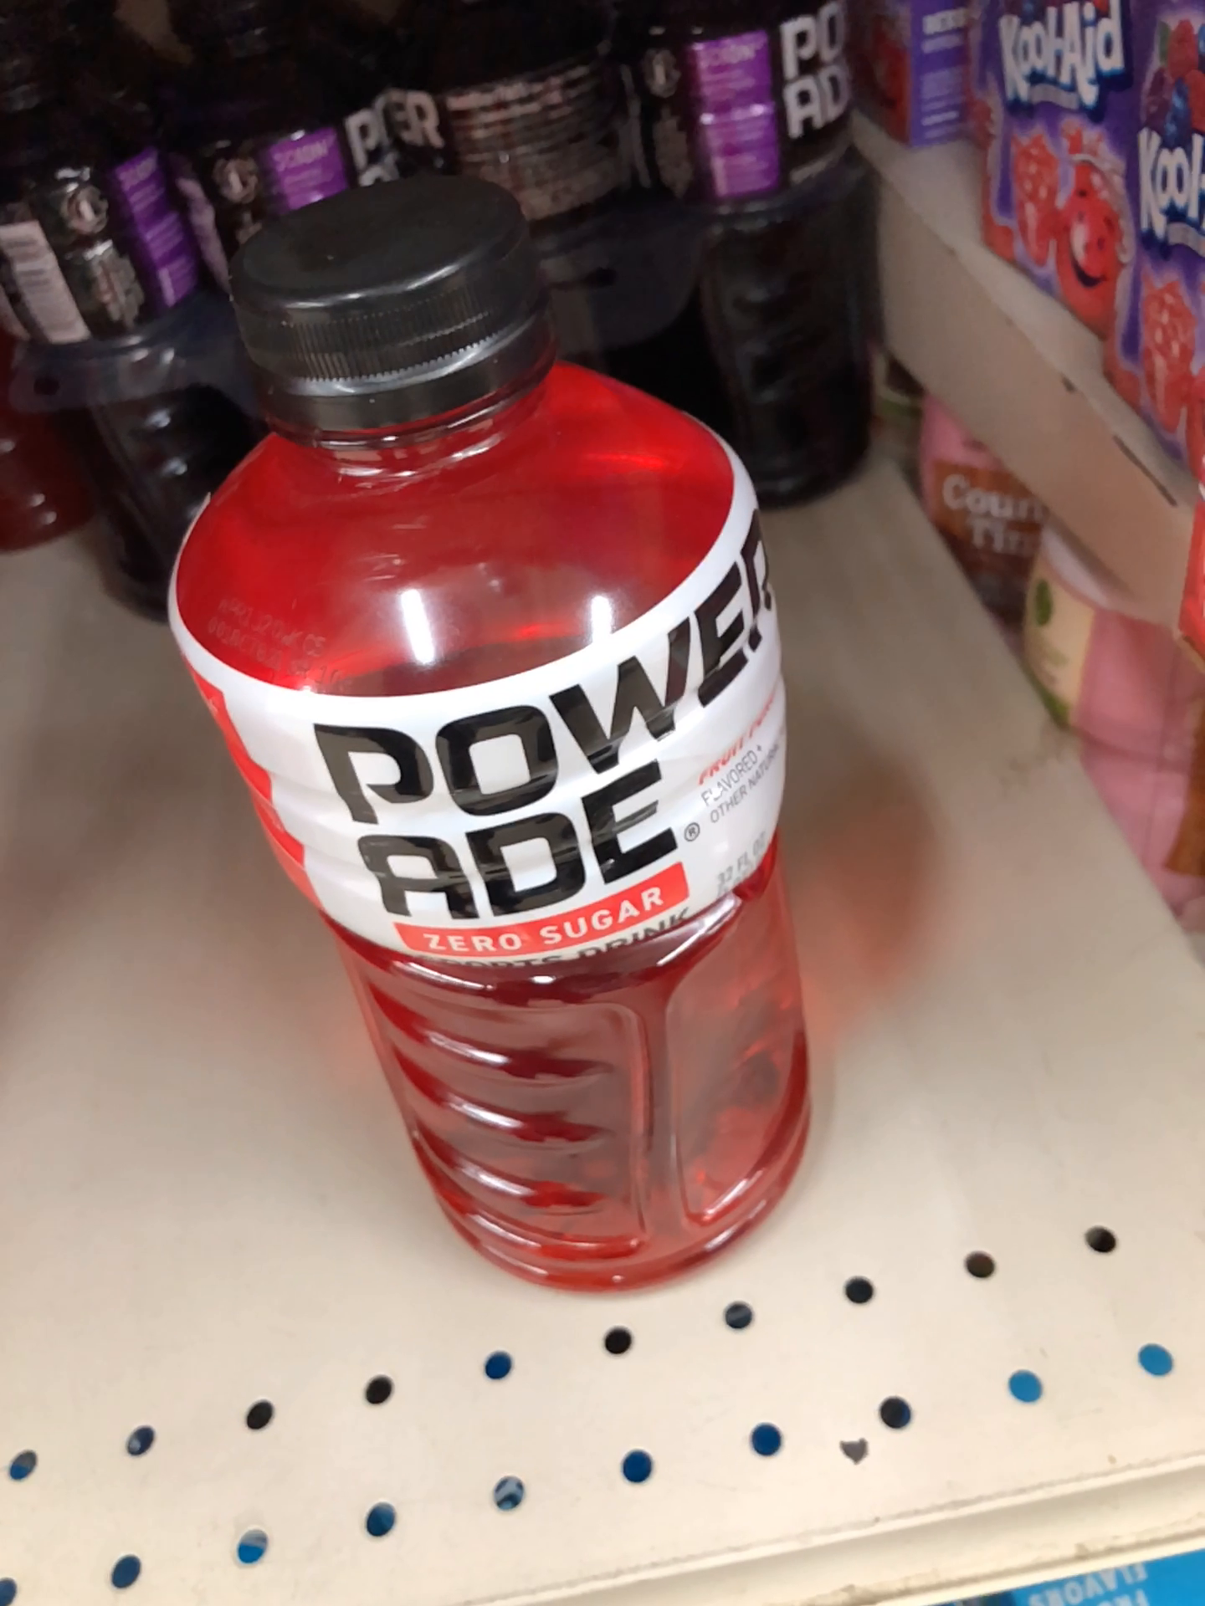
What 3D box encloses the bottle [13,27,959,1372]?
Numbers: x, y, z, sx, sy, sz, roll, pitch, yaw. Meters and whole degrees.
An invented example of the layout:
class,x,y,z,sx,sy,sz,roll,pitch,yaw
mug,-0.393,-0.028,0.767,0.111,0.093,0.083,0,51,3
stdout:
class,x,y,z,sx,sy,sz,roll,pitch,yaw
bottle,-0.009,-0.005,0.230,0.095,0.190,0.095,-6,44,6
